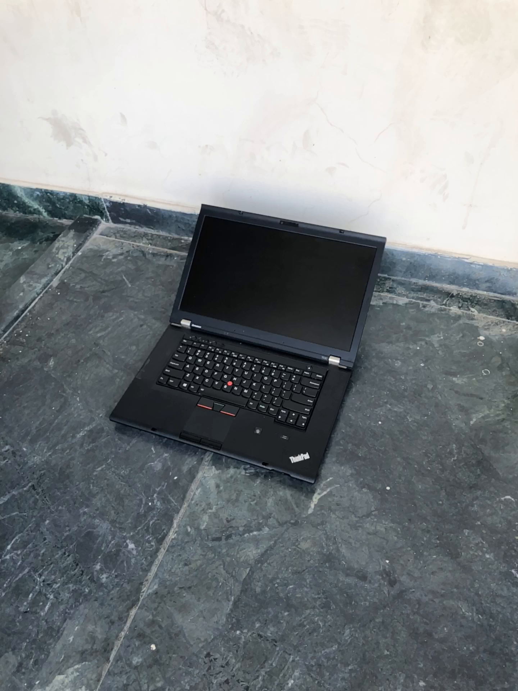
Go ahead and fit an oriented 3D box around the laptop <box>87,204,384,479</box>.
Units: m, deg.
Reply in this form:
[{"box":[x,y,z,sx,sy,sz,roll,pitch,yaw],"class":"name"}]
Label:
[{"box":[-0.011,-0.032,0.868,0.311,0.115,0.377,14,52,16],"class":"laptop"}]
